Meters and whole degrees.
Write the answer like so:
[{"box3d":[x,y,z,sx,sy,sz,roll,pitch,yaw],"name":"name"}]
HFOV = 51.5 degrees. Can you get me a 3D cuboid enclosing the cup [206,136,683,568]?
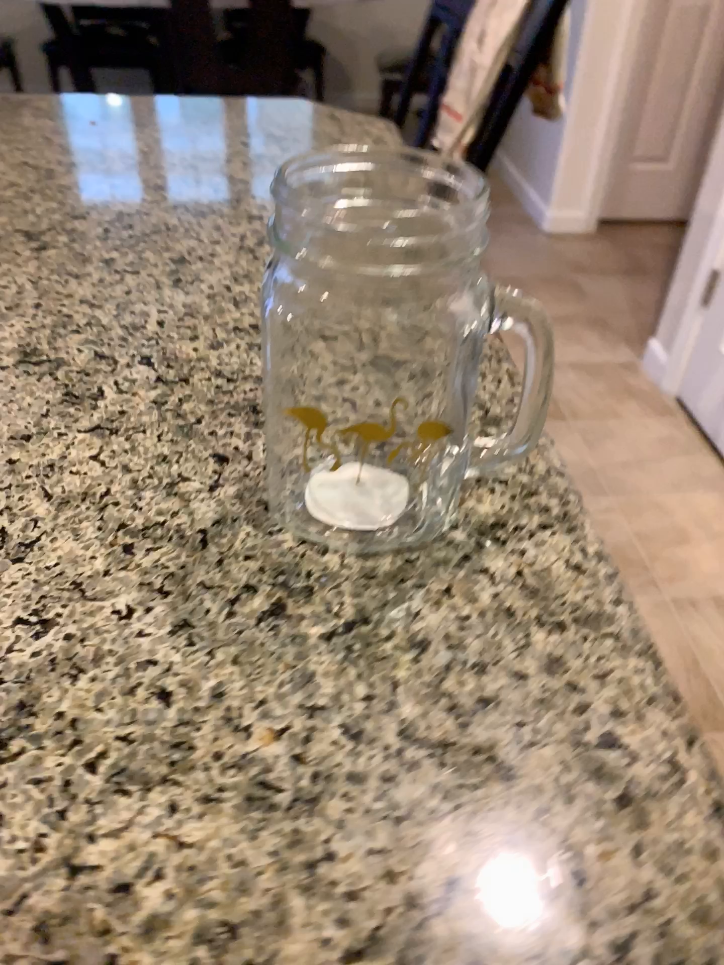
[{"box3d":[0.018,-0.042,0.256,0.120,0.119,0.081,0,39,-3],"name":"cup"}]
